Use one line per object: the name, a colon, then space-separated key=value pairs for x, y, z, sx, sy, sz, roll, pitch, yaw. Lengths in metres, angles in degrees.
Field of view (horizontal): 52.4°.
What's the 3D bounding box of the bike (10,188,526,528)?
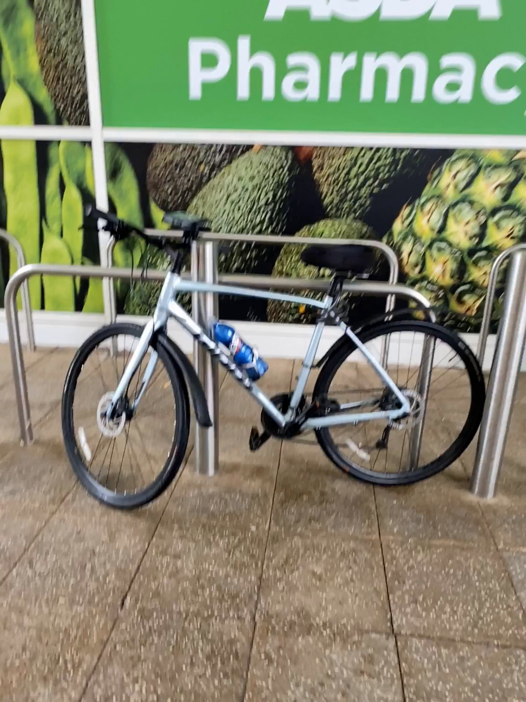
bike: x=0.049 y=-0.013 z=1.832 sx=1.461 sy=0.963 sz=0.608 roll=1 pitch=19 yaw=-1
